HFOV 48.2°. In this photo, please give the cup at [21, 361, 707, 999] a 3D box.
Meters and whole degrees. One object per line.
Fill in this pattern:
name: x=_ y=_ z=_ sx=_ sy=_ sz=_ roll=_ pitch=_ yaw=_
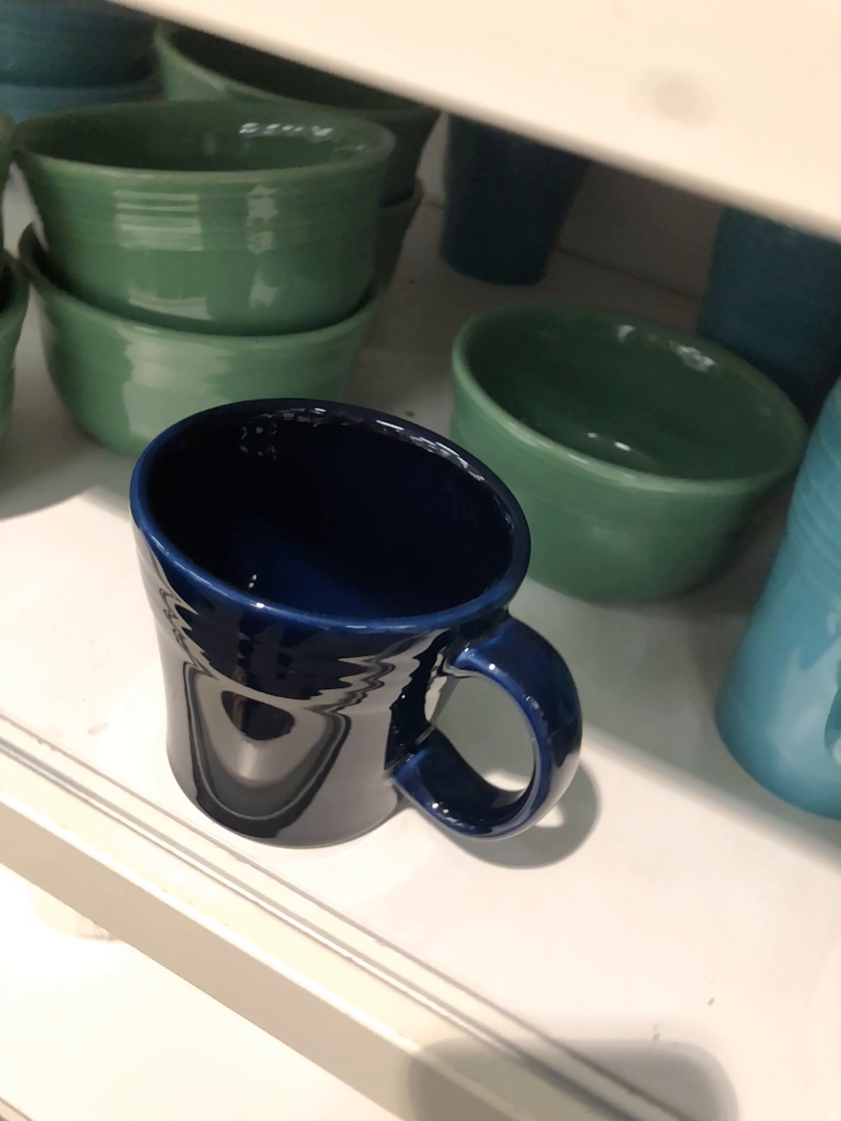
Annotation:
cup: x=-0.015 y=0.023 z=0.260 sx=0.143 sy=0.085 sz=0.094 roll=25 pitch=40 yaw=17
